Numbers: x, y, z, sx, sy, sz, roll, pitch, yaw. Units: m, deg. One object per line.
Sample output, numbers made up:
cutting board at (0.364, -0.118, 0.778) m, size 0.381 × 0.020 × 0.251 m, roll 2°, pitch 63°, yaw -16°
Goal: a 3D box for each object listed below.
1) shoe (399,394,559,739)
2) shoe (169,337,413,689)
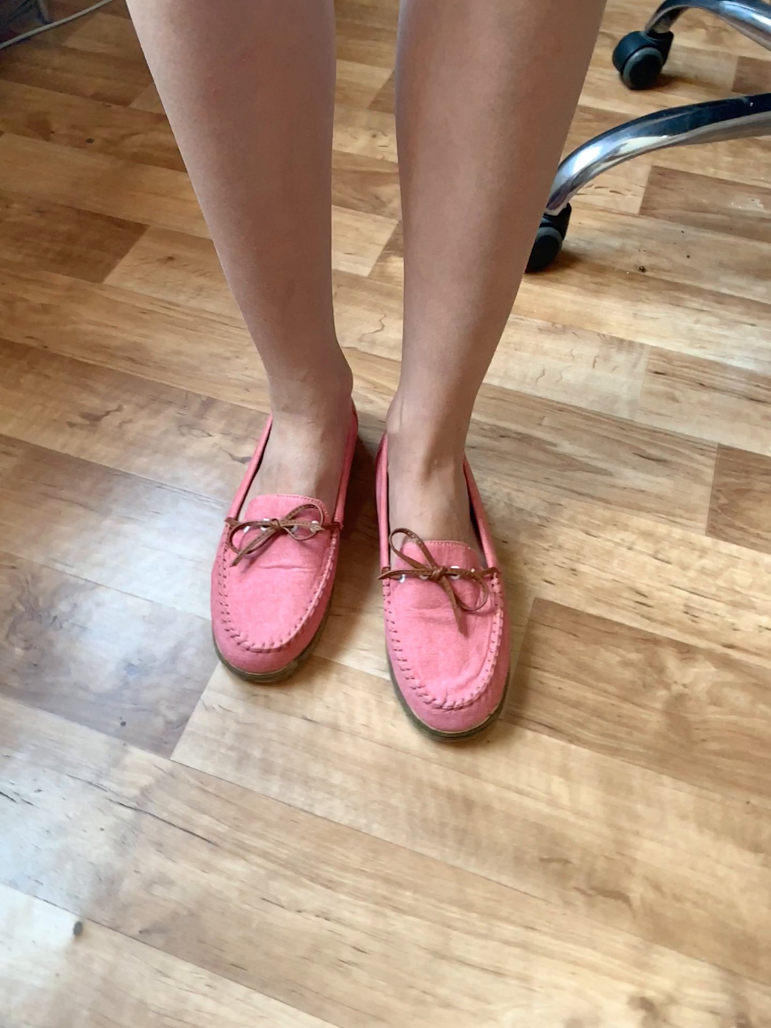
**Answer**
shoe at (0.057, 0.027, 0.565) m, size 0.090 × 0.060 × 0.251 m, roll 0°, pitch 55°, yaw 0°
shoe at (-0.057, -0.013, 0.586) m, size 0.100 × 0.060 × 0.261 m, roll 11°, pitch 56°, yaw 7°
